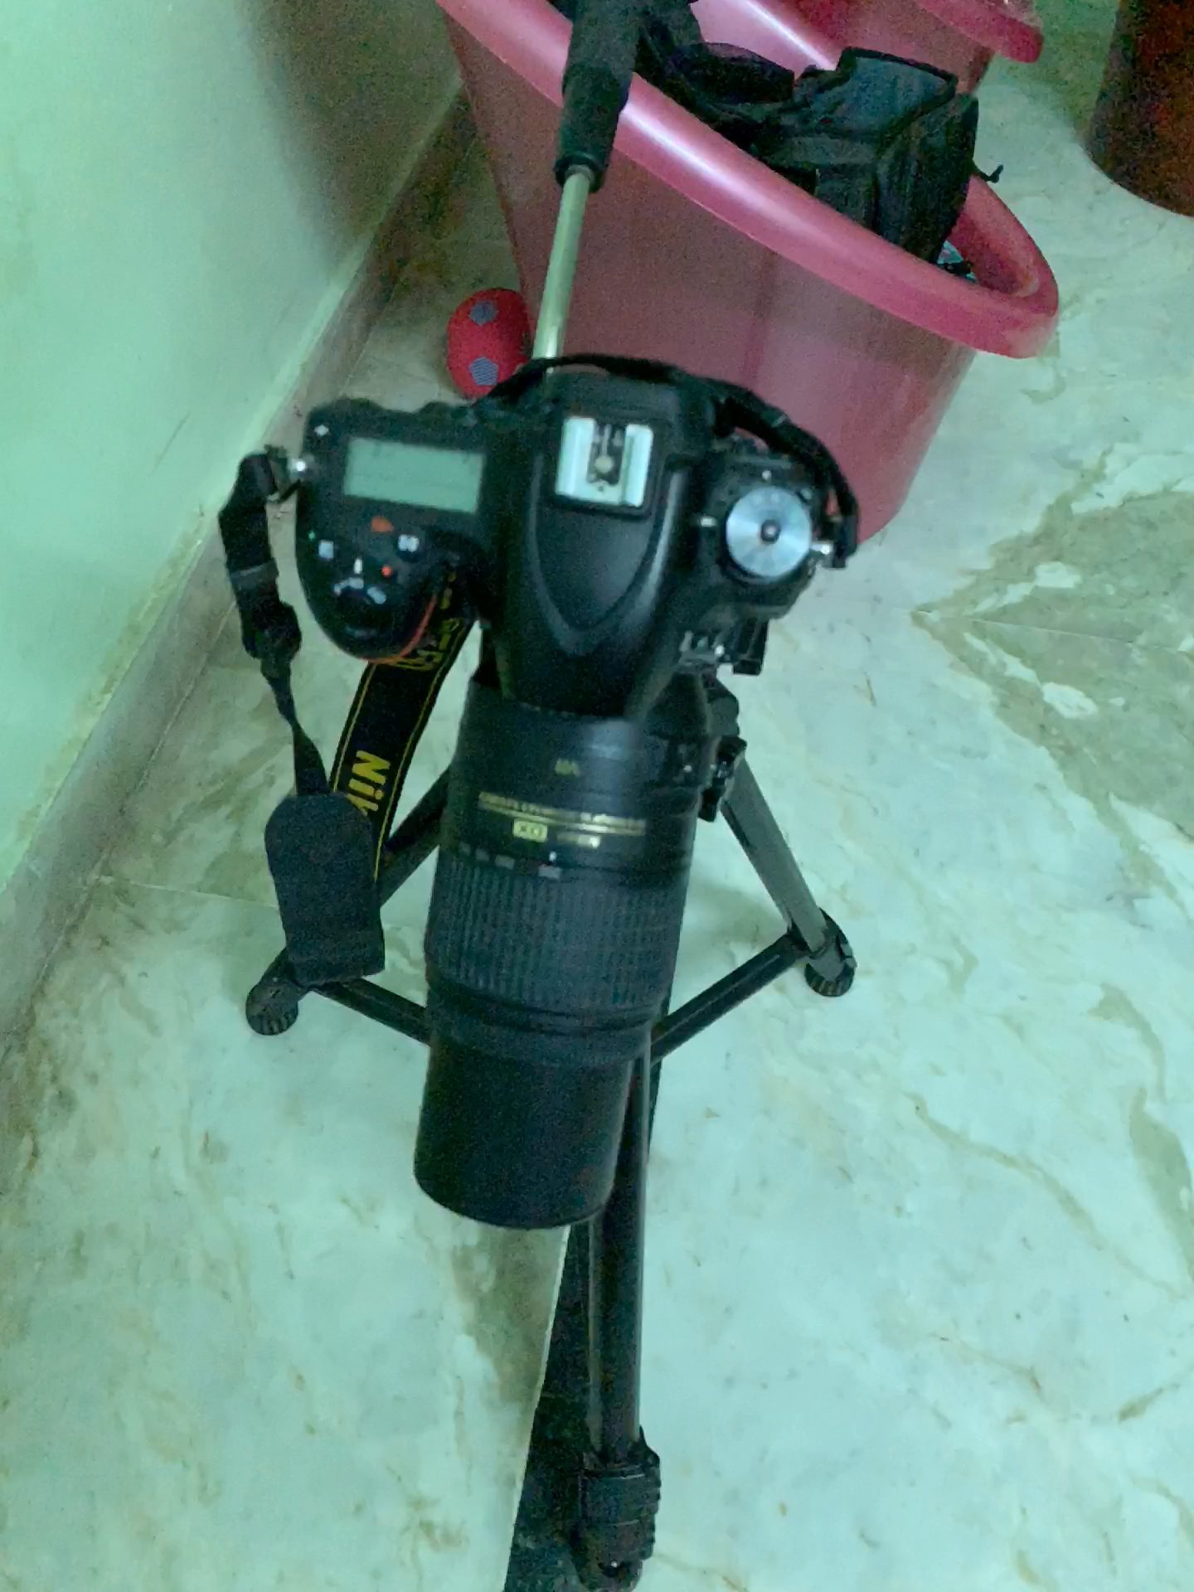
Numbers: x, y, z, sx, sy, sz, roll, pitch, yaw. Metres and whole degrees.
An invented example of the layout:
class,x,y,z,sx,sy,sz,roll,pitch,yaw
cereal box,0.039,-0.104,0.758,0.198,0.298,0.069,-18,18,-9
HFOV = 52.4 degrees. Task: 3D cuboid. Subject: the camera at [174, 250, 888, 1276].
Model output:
class,x,y,z,sx,sy,sz,roll,pitch,yaw
camera,-0.015,-0.011,0.334,0.130,0.214,0.116,11,8,4
